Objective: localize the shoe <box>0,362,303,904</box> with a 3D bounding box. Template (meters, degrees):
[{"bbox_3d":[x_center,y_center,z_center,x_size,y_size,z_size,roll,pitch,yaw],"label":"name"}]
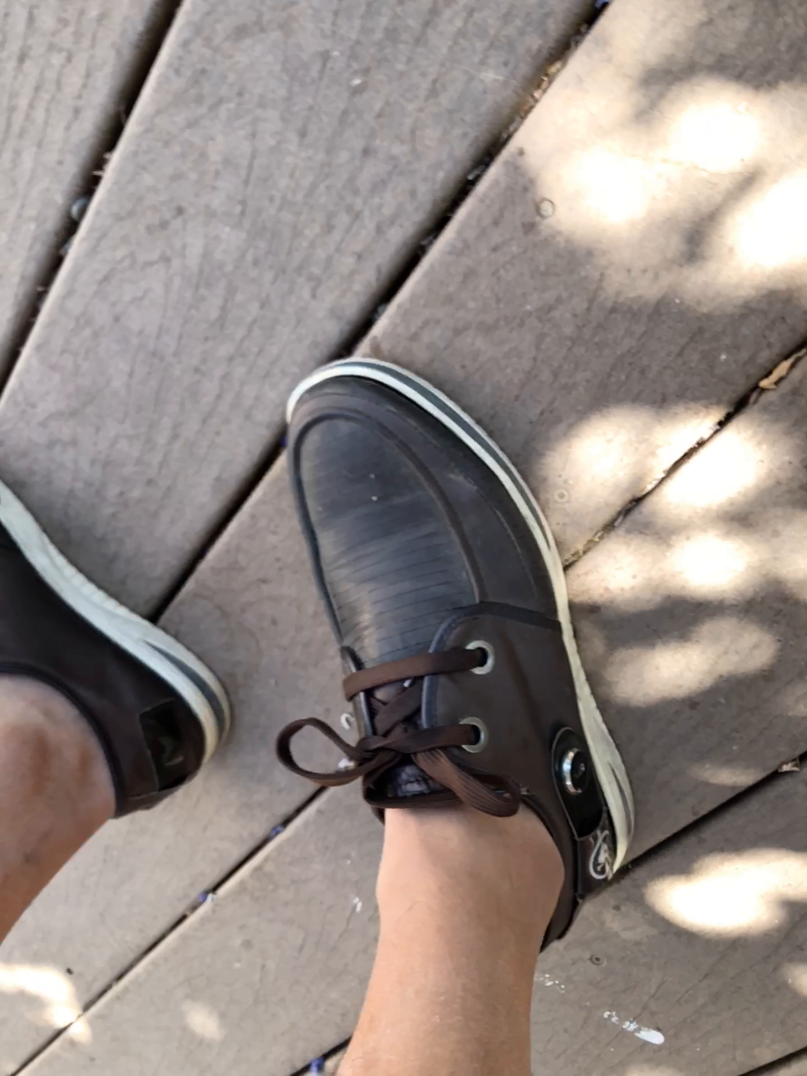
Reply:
[{"bbox_3d":[-0.208,0.043,0.471,0.283,0.096,0.104,37,121,3],"label":"shoe"}]

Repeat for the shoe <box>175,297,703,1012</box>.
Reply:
[{"bbox_3d":[0.029,0.057,0.378,0.104,0.089,0.277,-16,106,27],"label":"shoe"}]
